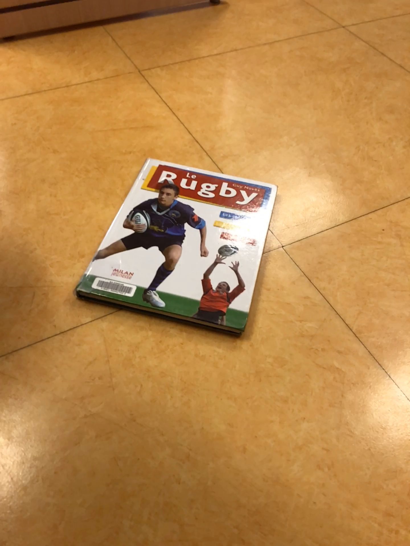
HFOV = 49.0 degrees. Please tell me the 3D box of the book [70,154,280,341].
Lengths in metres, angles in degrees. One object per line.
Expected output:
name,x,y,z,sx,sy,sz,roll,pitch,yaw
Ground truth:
book,-0.023,-0.051,0.591,0.203,0.024,0.261,13,52,7
